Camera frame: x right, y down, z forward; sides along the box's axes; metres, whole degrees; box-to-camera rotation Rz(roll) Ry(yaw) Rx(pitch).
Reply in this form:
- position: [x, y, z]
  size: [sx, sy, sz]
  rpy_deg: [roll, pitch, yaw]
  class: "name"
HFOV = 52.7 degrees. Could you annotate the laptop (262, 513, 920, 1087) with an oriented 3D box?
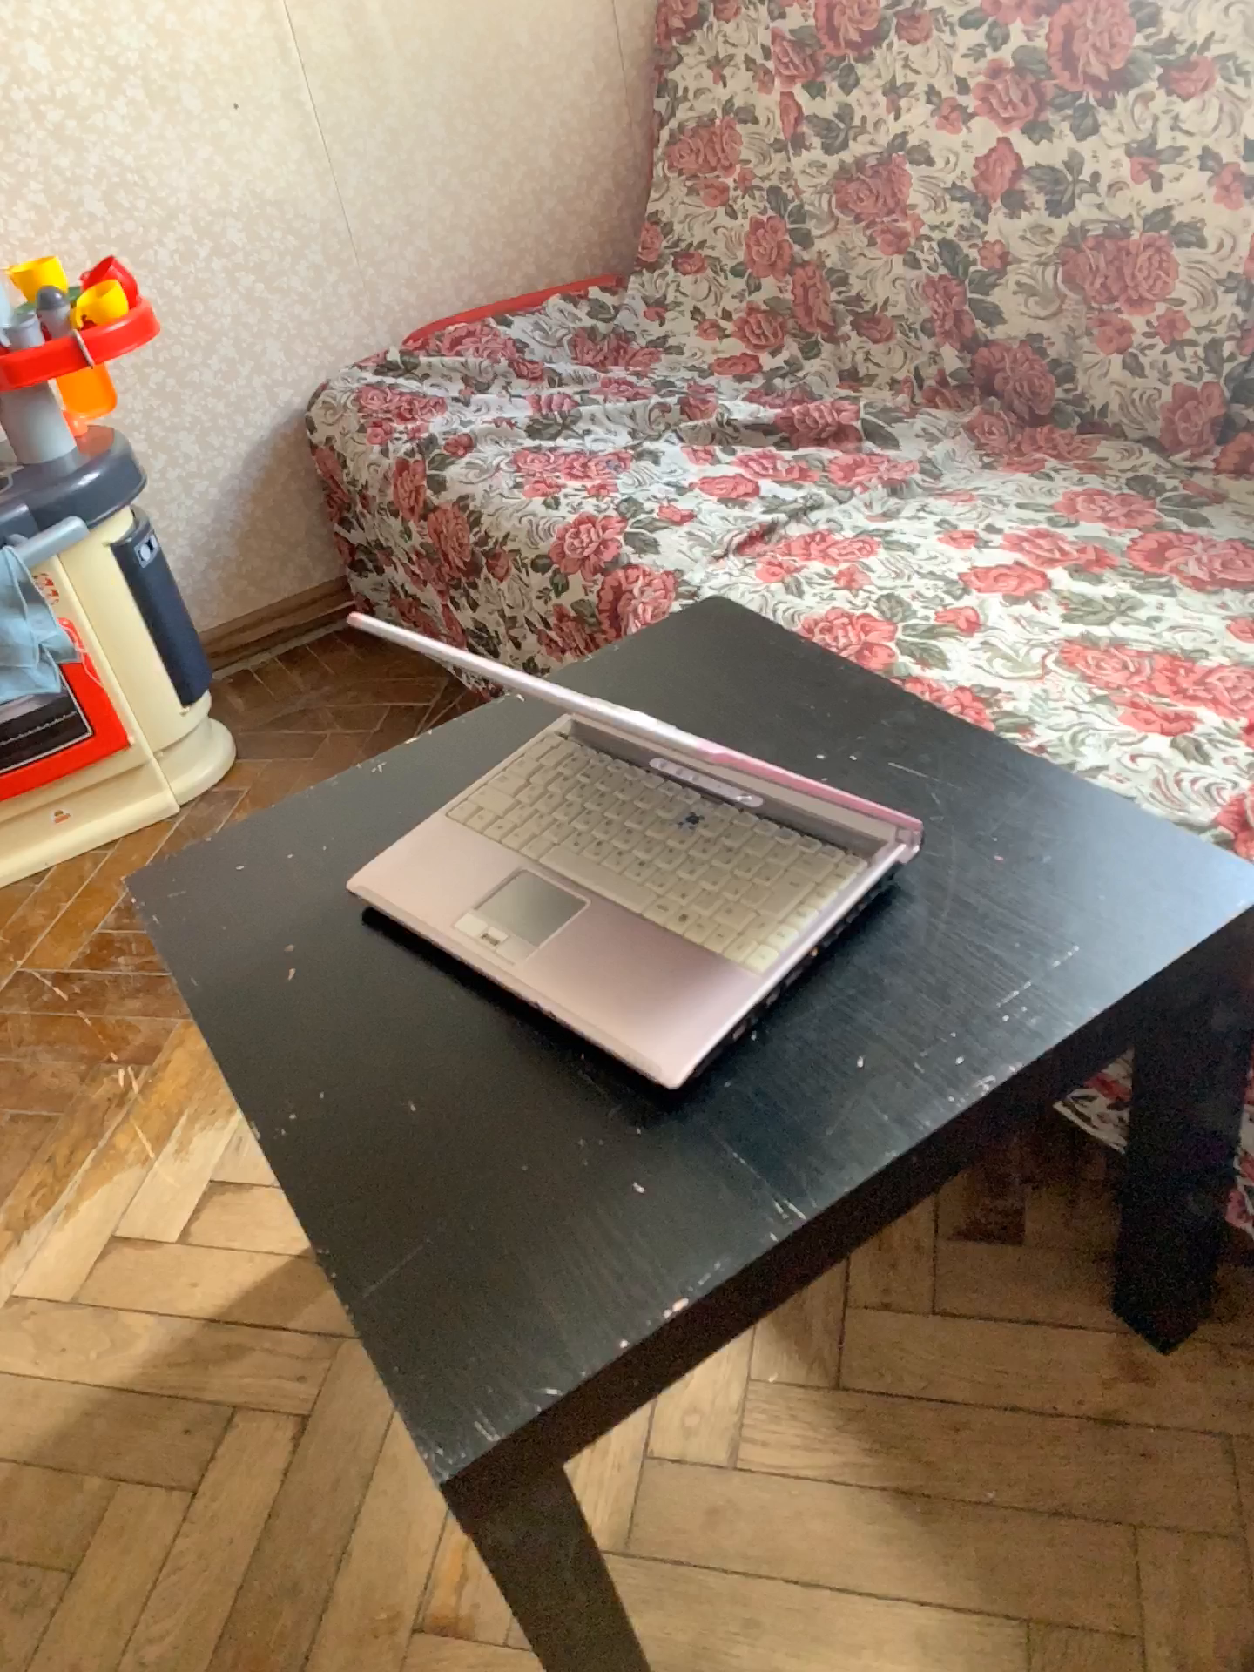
- position: [-0.021, -0.045, 0.759]
  size: [0.306, 0.156, 0.226]
  rpy_deg: [24, 52, 39]
  class: "laptop"
